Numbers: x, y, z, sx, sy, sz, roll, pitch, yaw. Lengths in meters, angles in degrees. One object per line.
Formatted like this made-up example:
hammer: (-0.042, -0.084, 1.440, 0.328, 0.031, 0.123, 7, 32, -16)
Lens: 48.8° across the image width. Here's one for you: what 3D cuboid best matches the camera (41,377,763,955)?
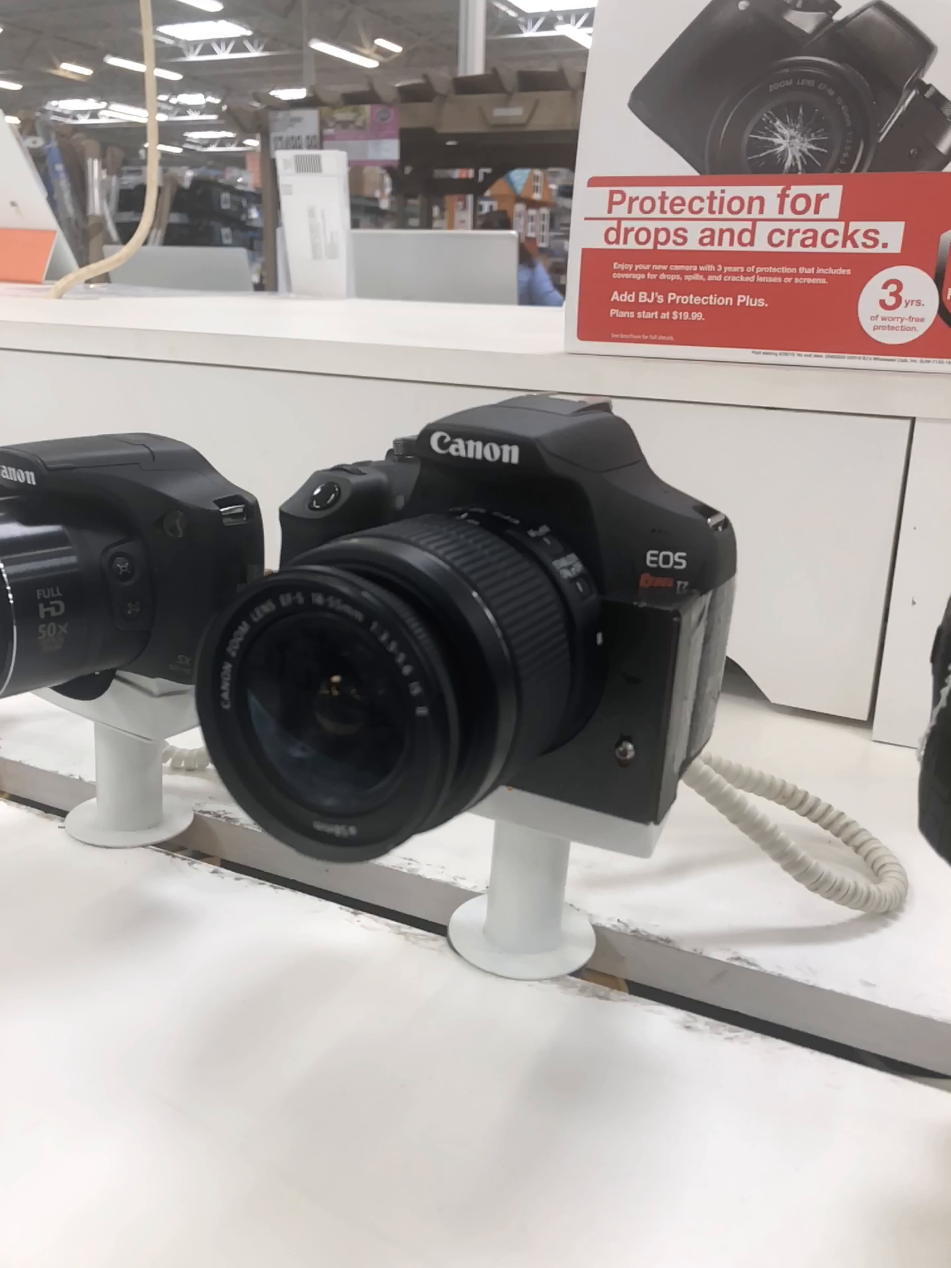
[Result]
camera: (-0.008, -0.010, 0.271, 0.130, 0.092, 0.132, 10, 20, 23)
